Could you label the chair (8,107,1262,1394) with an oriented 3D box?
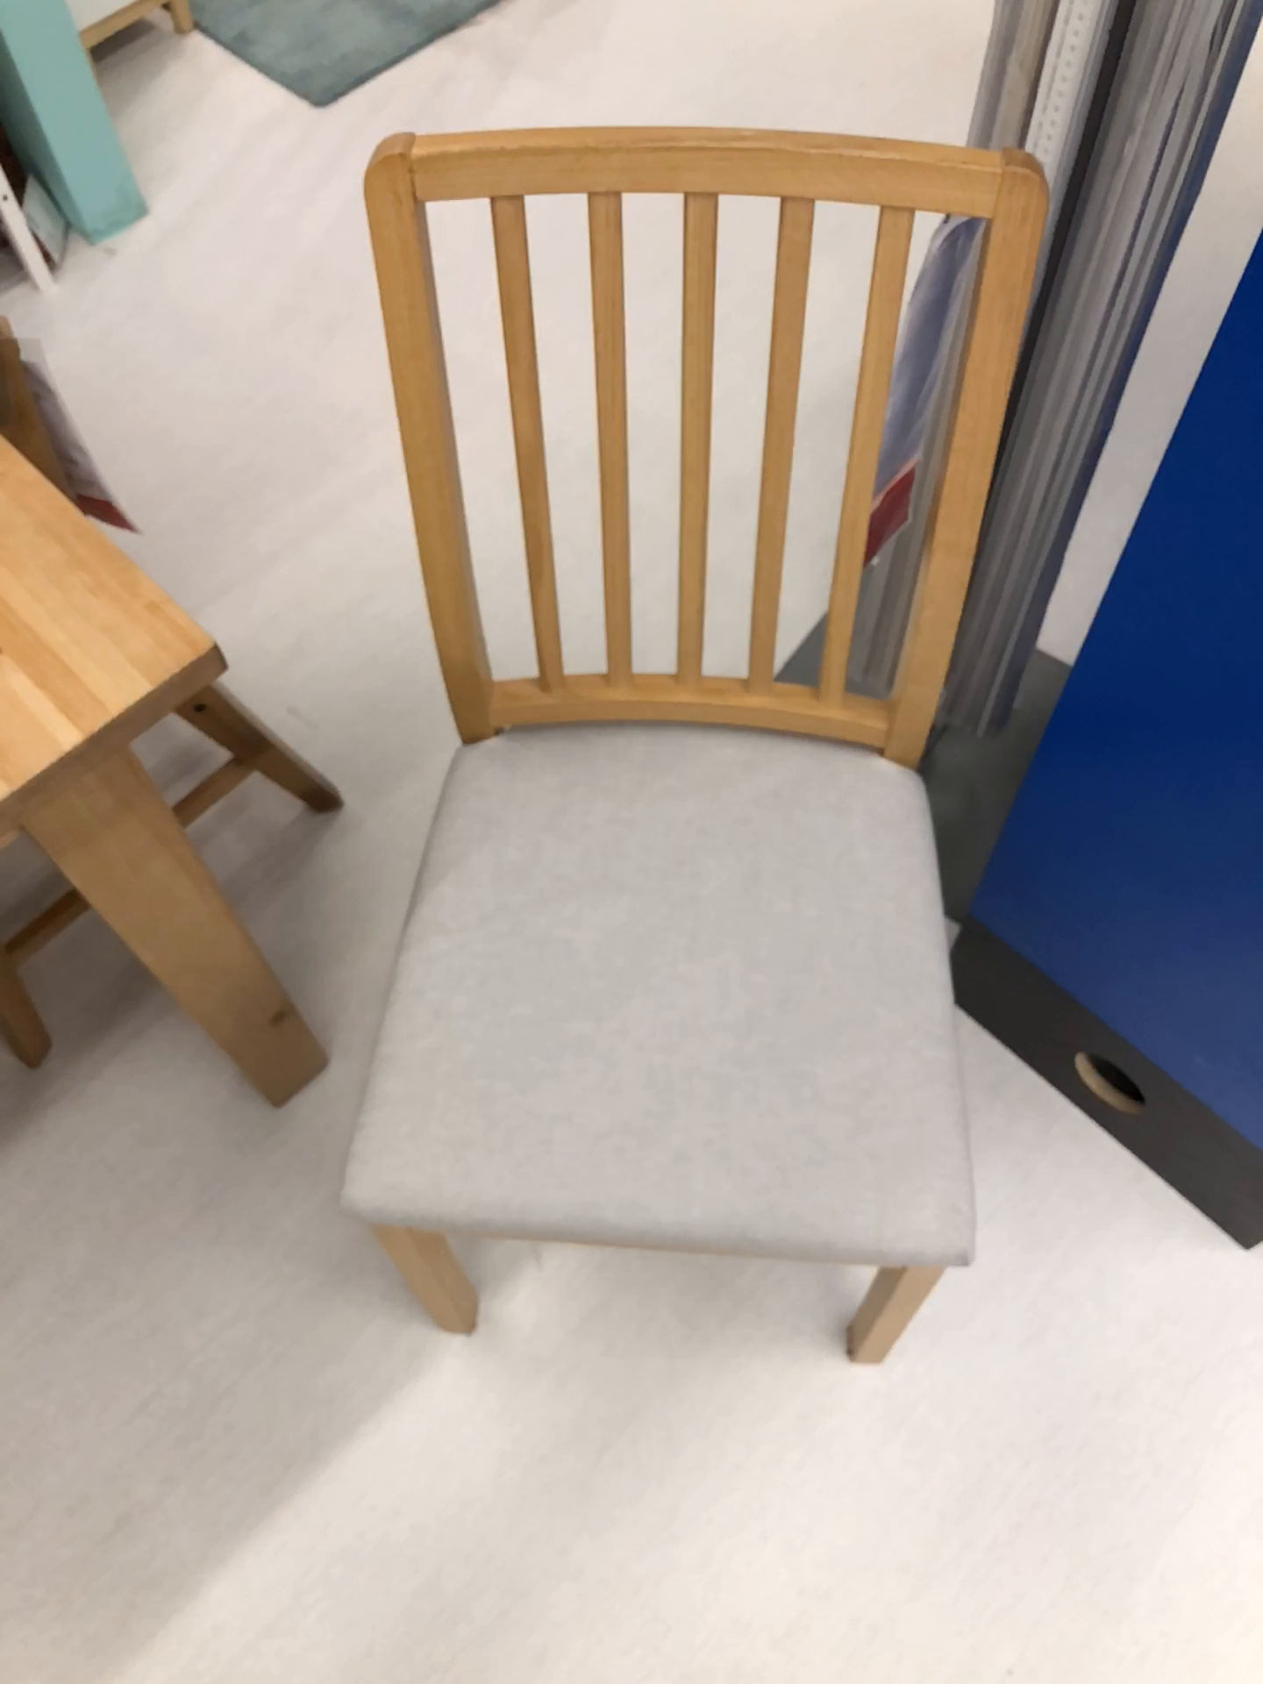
[{"bbox_3d":[0.032,0.047,0.989,0.450,0.856,0.512,4,62,4],"label":"chair"}]
